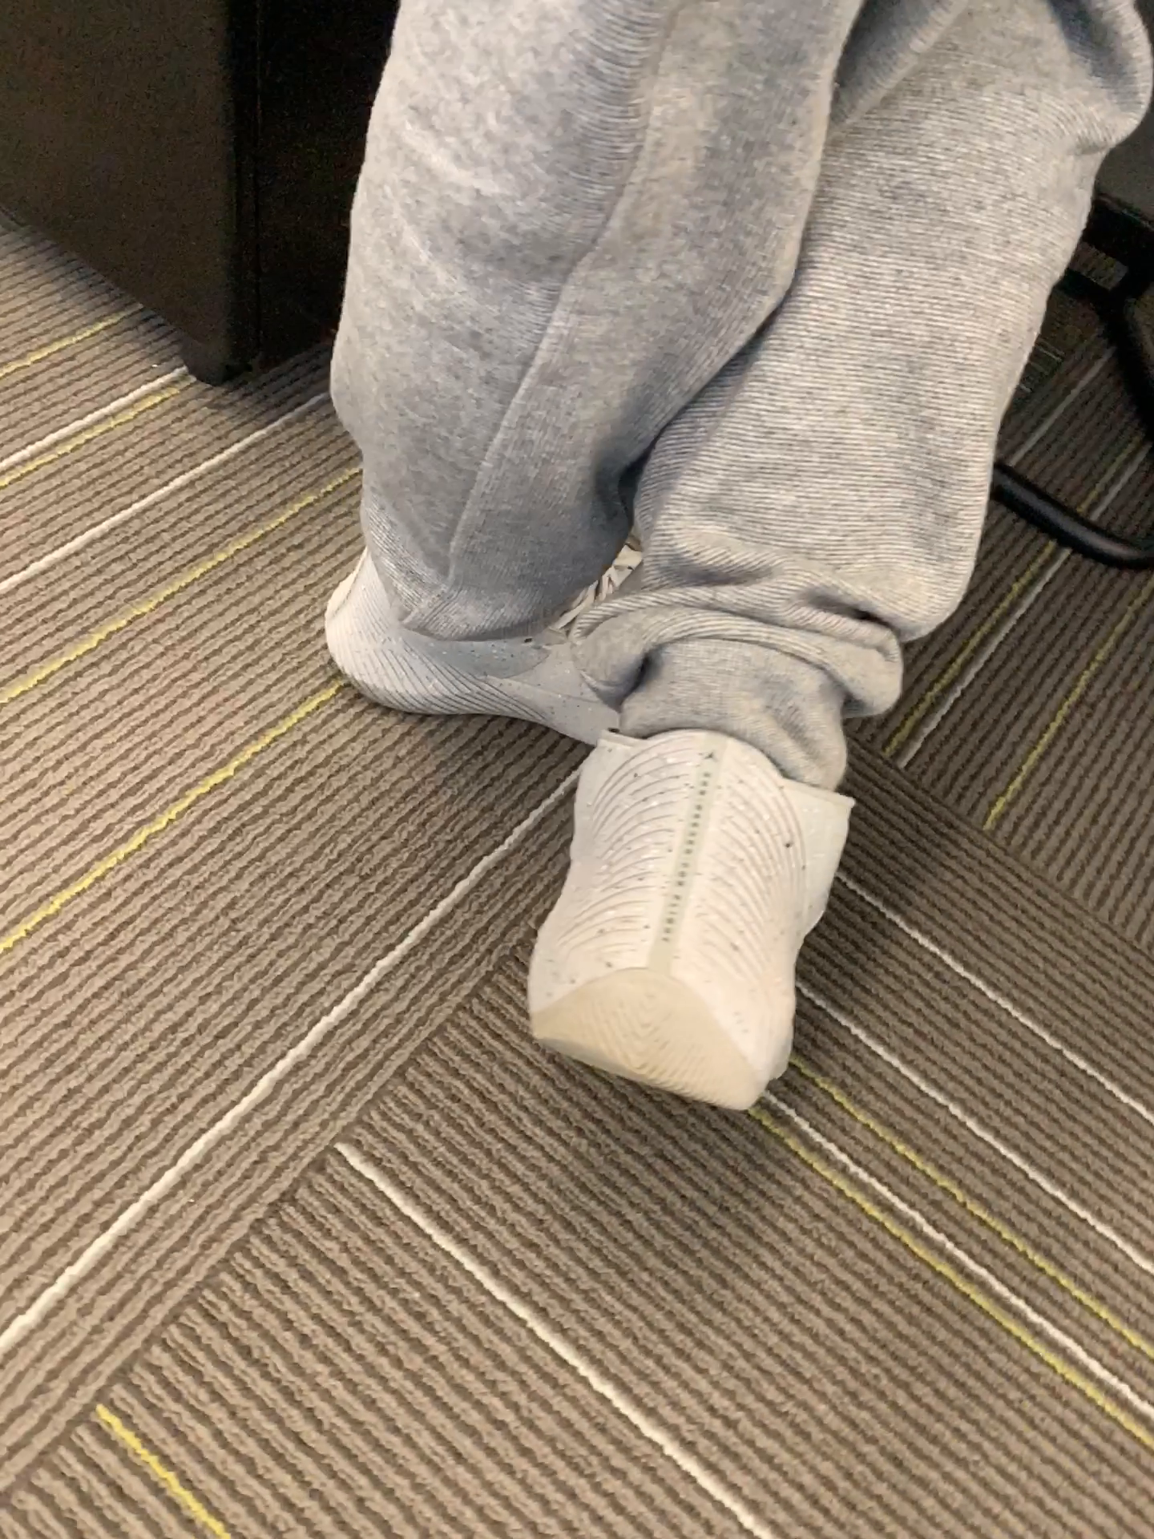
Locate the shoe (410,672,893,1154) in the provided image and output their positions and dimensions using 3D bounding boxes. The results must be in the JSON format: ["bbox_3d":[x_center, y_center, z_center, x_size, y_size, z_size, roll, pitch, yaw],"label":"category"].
[{"bbox_3d":[0.042,0.075,0.496,0.120,0.279,0.120,14,78,12],"label":"shoe"}]

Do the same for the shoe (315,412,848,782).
[{"bbox_3d":[-0.008,-0.095,0.712,0.280,0.149,0.130,4,58,-13],"label":"shoe"}]
